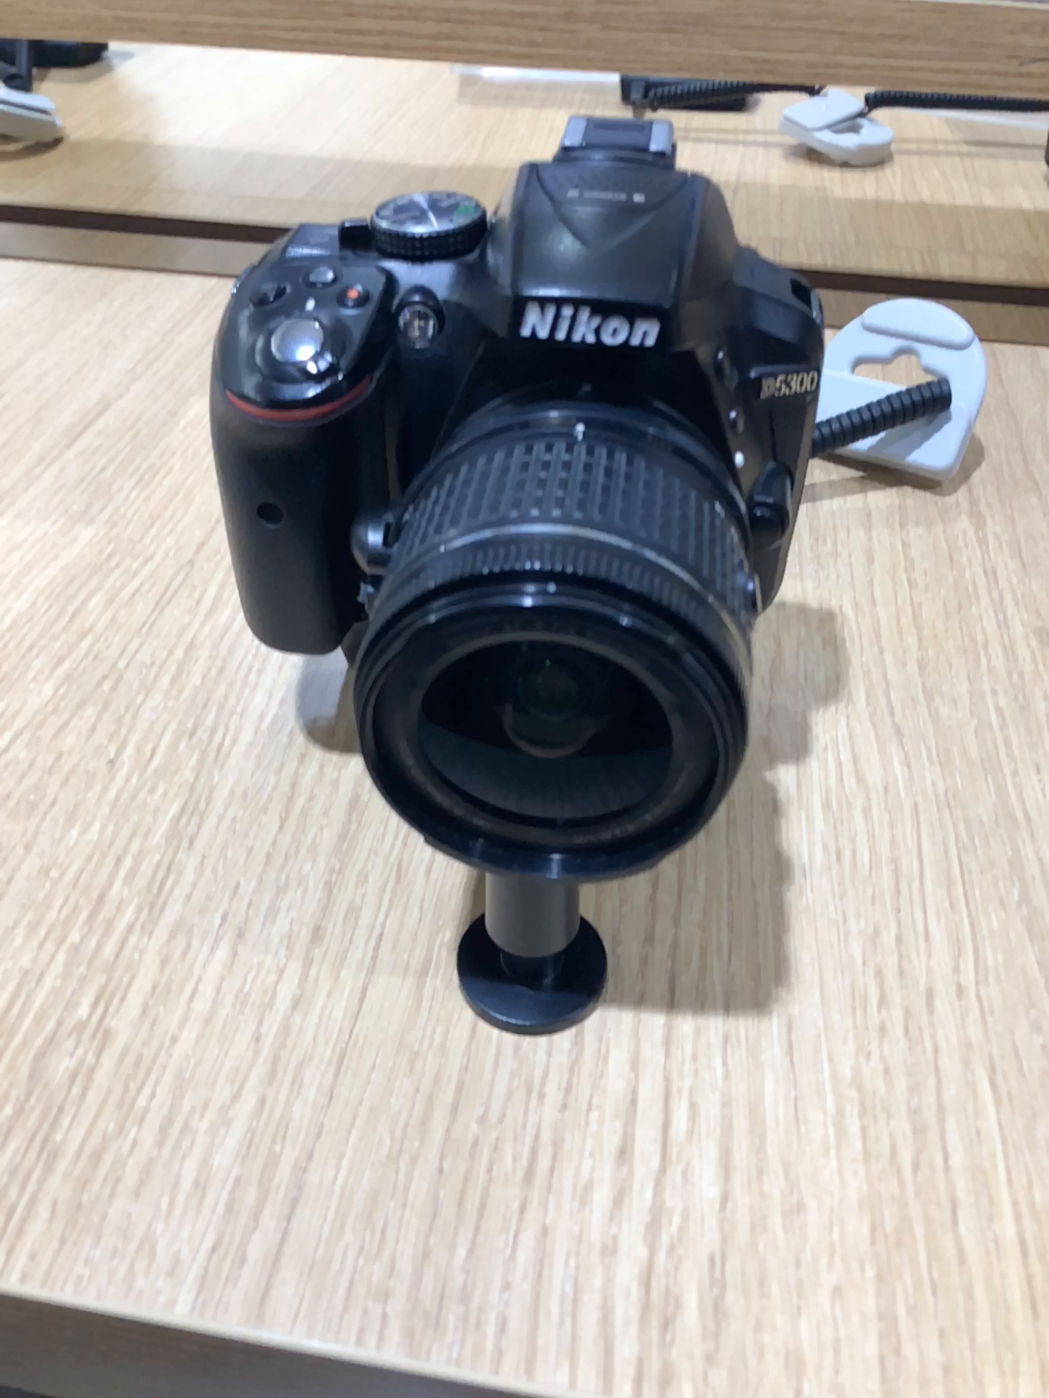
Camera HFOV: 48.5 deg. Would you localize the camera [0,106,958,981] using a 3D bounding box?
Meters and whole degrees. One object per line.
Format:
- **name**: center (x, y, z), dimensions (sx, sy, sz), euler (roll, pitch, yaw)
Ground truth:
- **camera**: center (-0.006, -0.033, 0.207), dimensions (0.120, 0.102, 0.111), euler (5, 41, 5)
